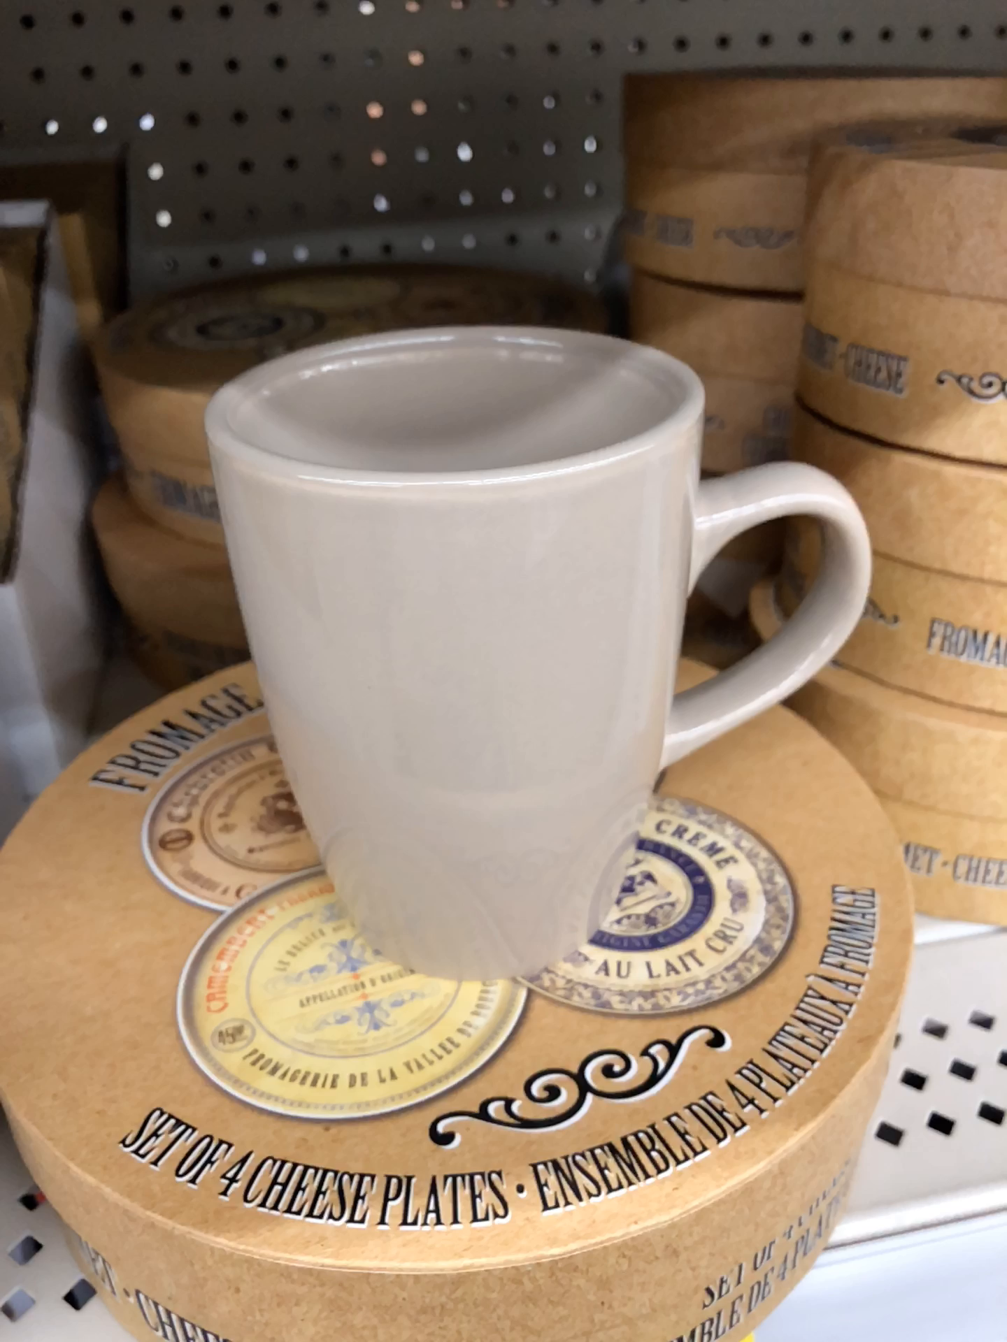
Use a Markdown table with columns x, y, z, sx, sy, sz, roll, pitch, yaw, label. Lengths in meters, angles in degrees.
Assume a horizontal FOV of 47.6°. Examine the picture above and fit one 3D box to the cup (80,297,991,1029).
| x | y | z | sx | sy | sz | roll | pitch | yaw | label |
| --- | --- | --- | --- | --- | --- | --- | --- | --- | --- |
| 0.003 | -0.008 | 0.225 | 0.130 | 0.100 | 0.090 | -6 | 31 | -6 | cup |
